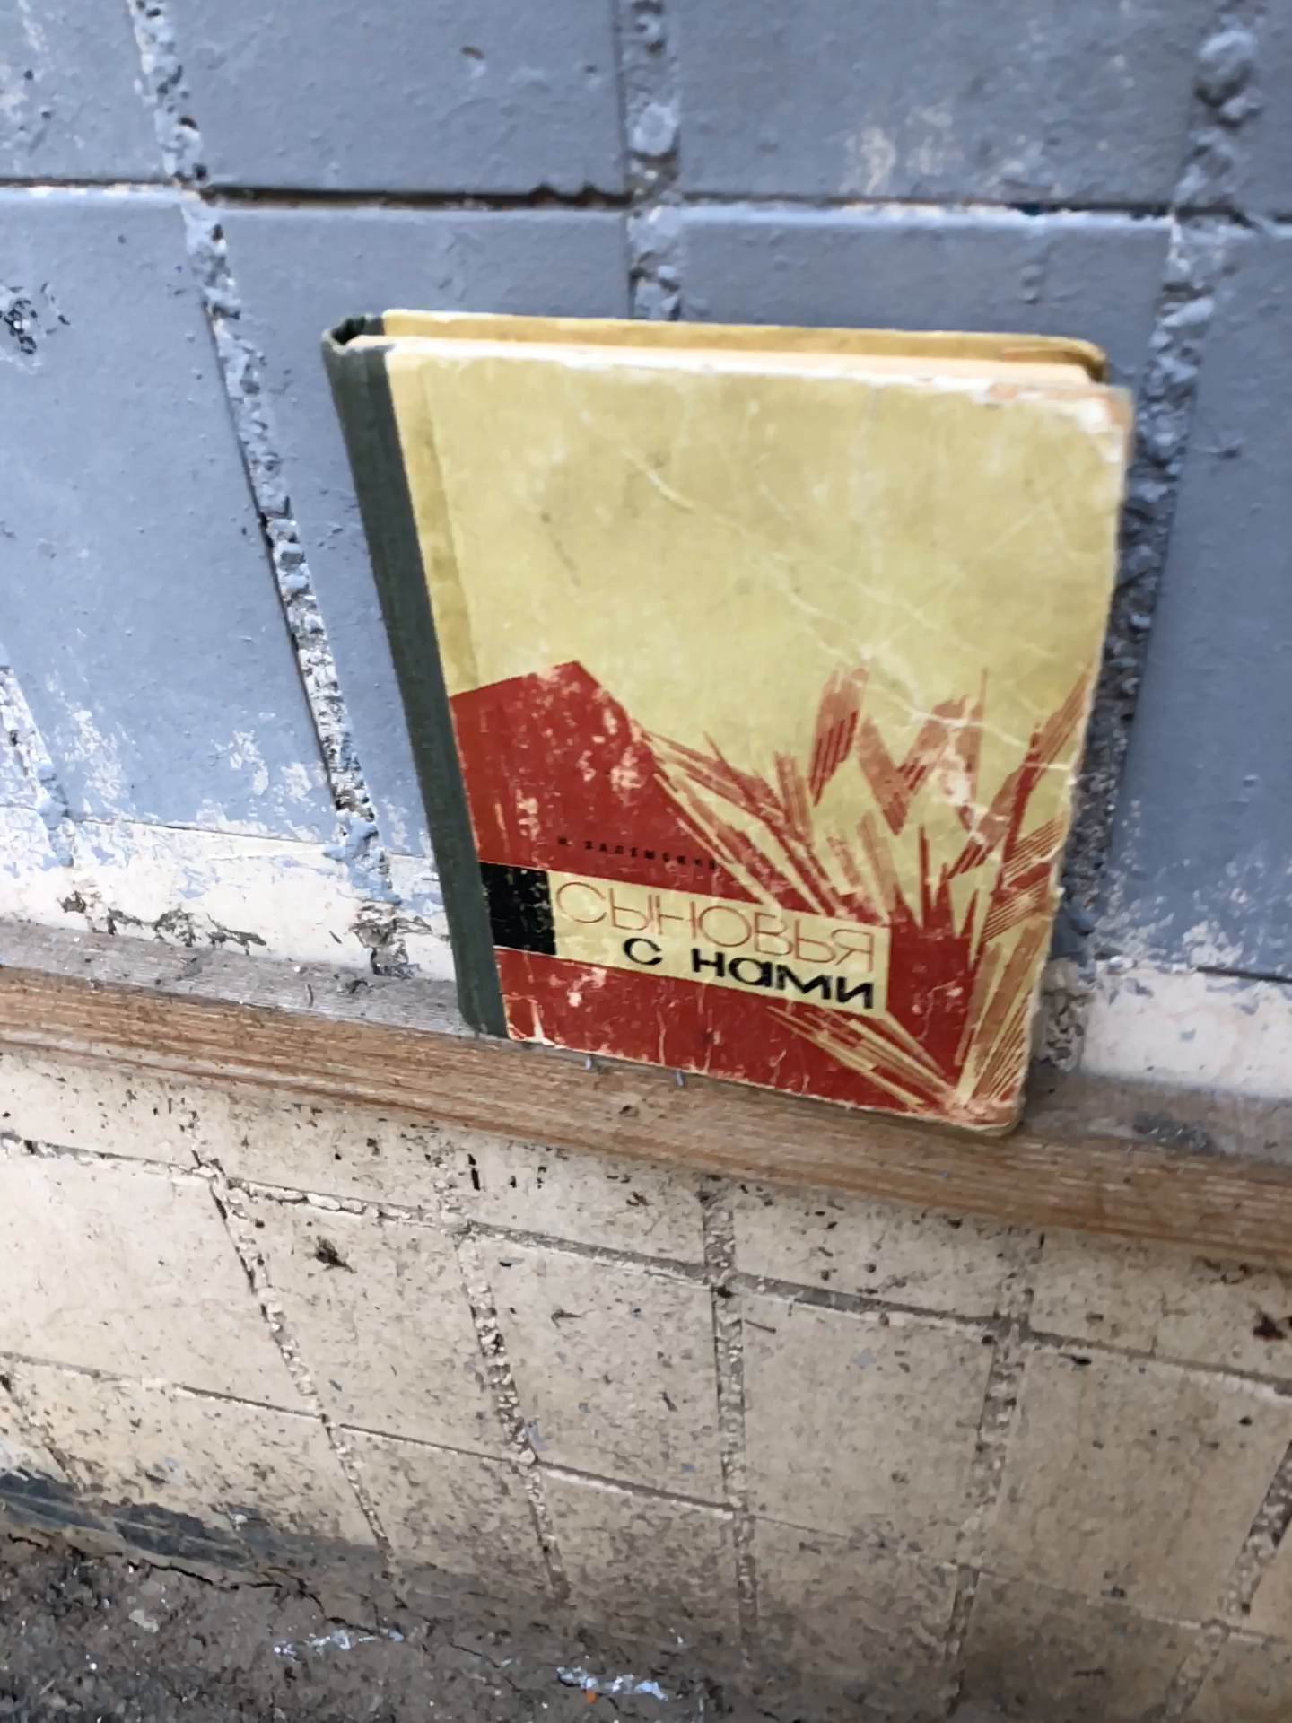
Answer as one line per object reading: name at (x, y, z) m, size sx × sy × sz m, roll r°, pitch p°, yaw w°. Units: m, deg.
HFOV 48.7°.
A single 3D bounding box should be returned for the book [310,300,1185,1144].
book at (0.017, -0.020, 0.269) m, size 0.135 × 0.156 × 0.020 m, roll 8°, pitch 38°, yaw 15°
